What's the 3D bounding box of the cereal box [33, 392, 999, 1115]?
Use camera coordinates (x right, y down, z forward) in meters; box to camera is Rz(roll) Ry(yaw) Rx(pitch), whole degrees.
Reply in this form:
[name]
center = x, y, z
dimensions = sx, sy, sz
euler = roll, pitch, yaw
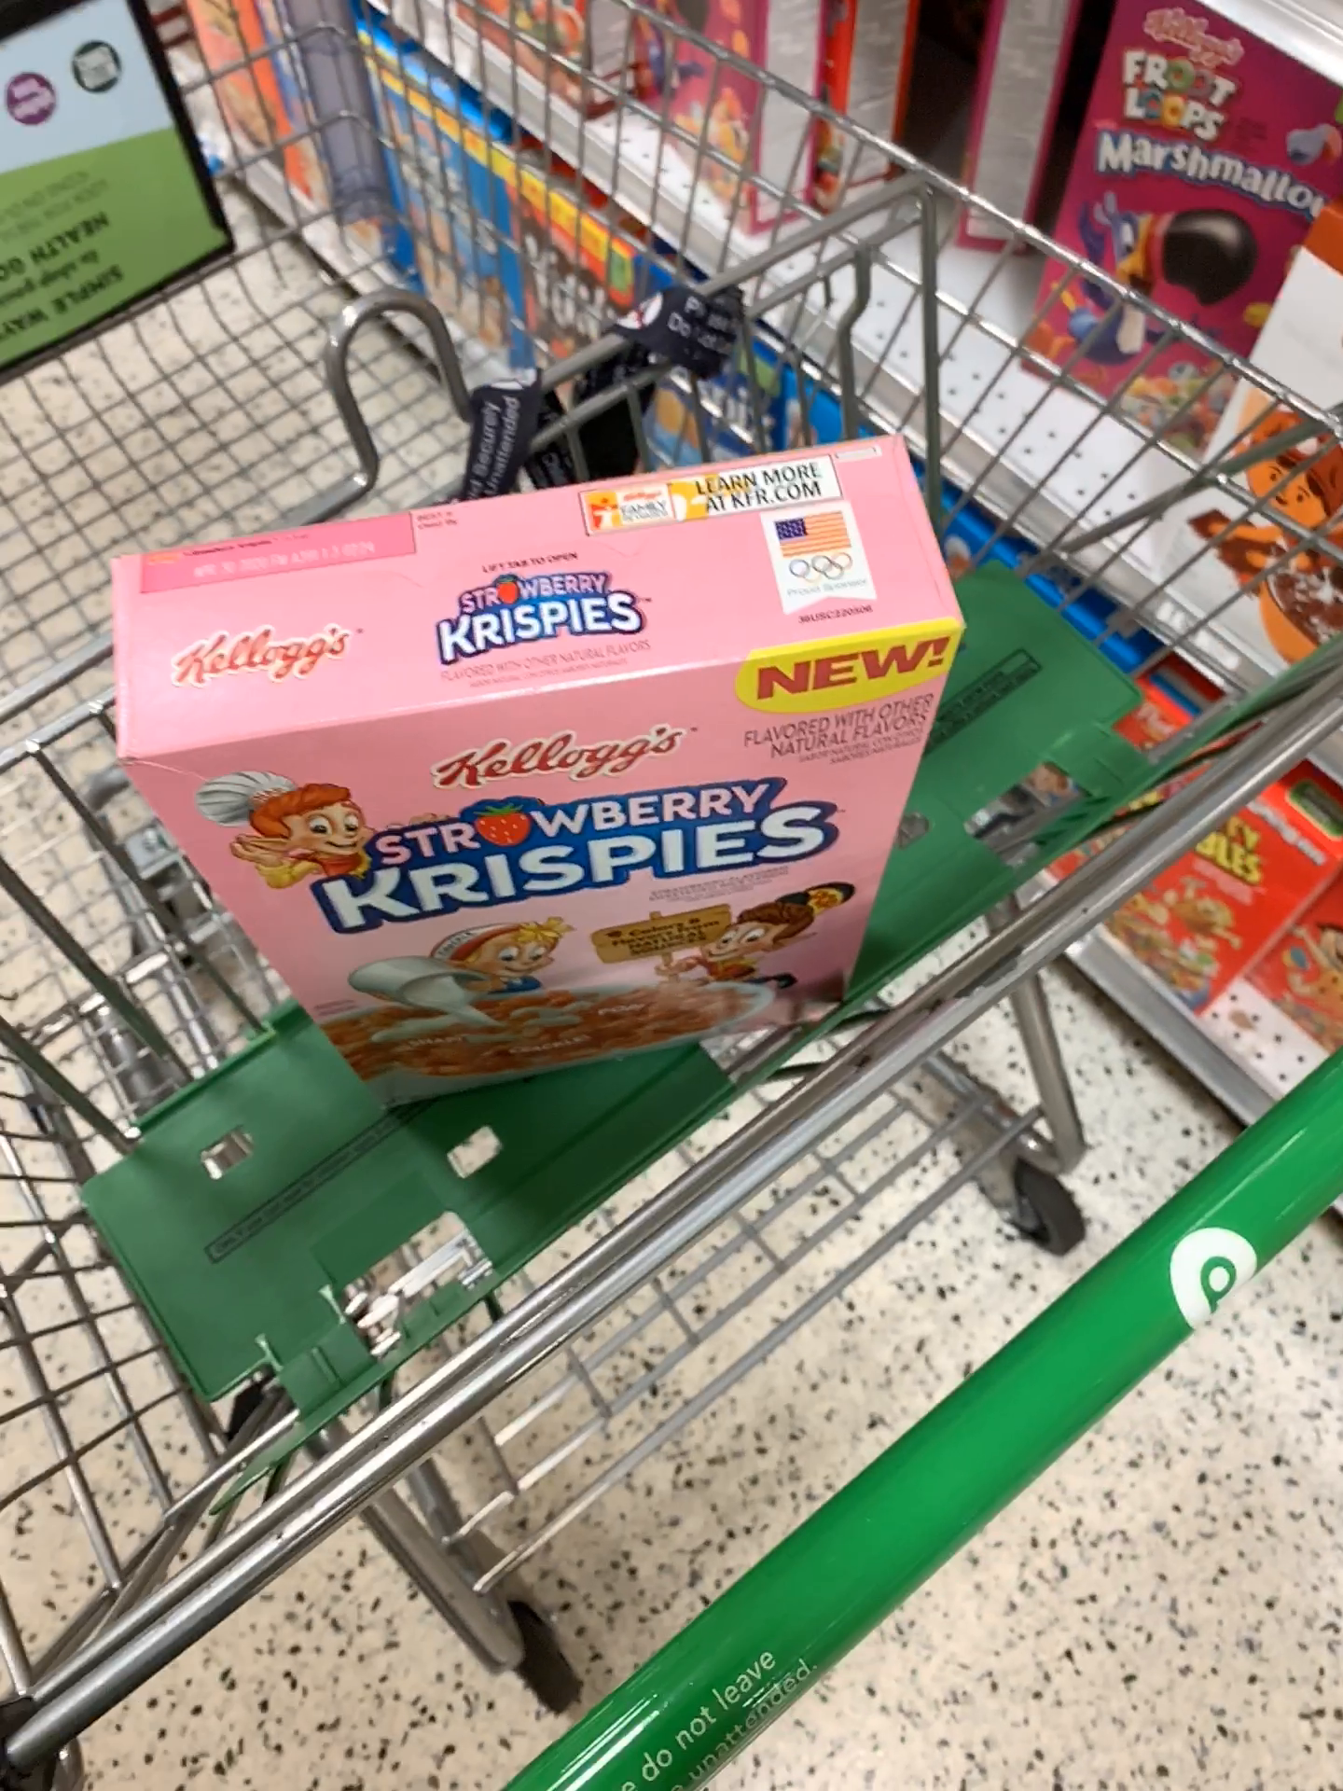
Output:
[cereal box]
center = -0.037, -0.016, 0.449
dimensions = 0.210, 0.298, 0.060
euler = -10, 67, -5
